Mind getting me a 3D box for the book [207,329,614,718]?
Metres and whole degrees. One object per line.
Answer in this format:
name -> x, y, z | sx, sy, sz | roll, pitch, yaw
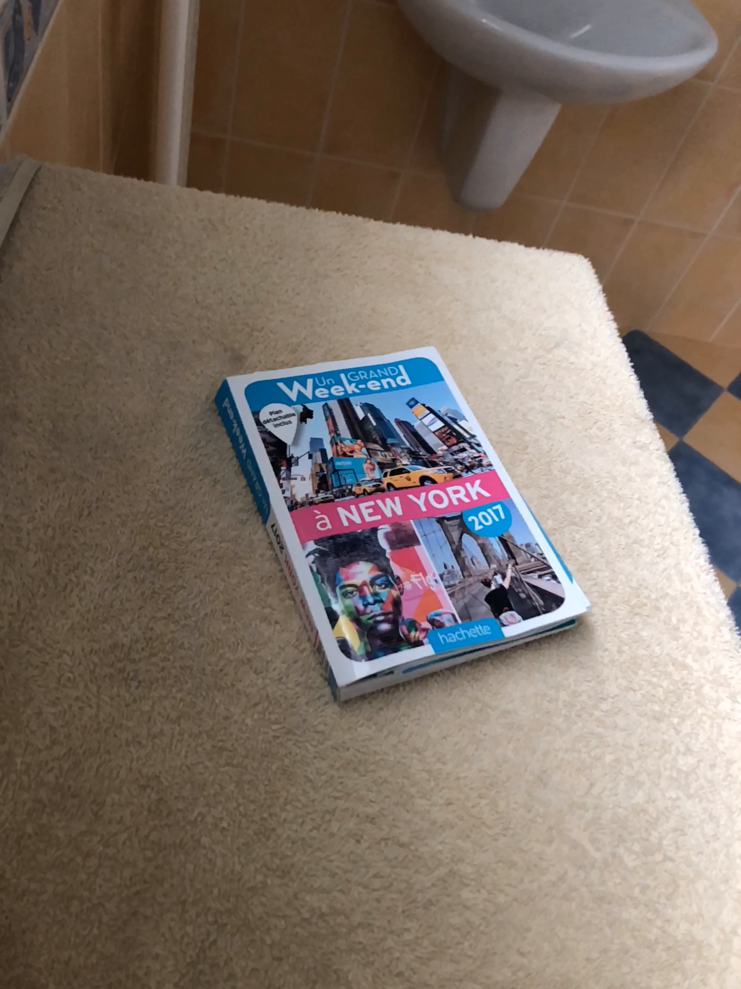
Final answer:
book -> 0.010, 0.000, 0.350 | 0.120, 0.020, 0.160 | -13, 57, -19
